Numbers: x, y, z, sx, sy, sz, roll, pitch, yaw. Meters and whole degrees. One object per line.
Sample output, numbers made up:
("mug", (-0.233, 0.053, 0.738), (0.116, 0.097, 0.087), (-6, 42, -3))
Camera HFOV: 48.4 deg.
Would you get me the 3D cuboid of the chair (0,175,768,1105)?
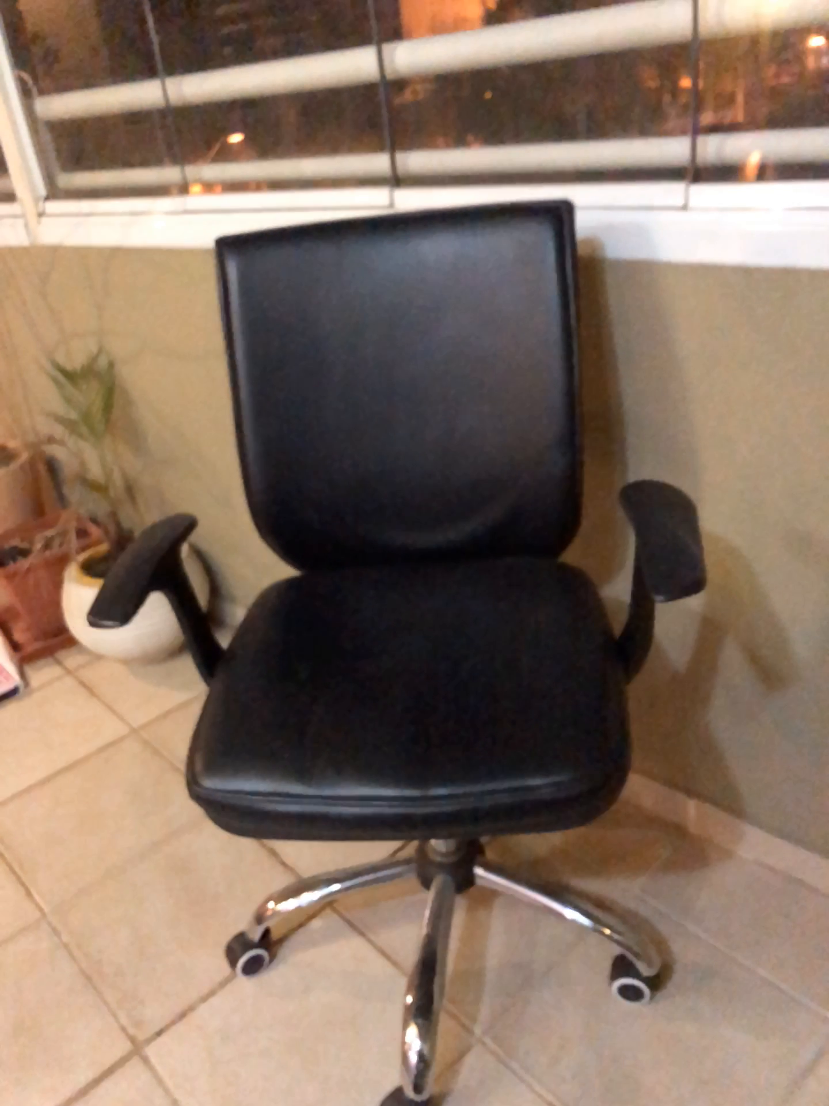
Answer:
("chair", (-0.009, 0.111, 1.131), (0.660, 0.933, 0.665), (-3, 27, 9))
